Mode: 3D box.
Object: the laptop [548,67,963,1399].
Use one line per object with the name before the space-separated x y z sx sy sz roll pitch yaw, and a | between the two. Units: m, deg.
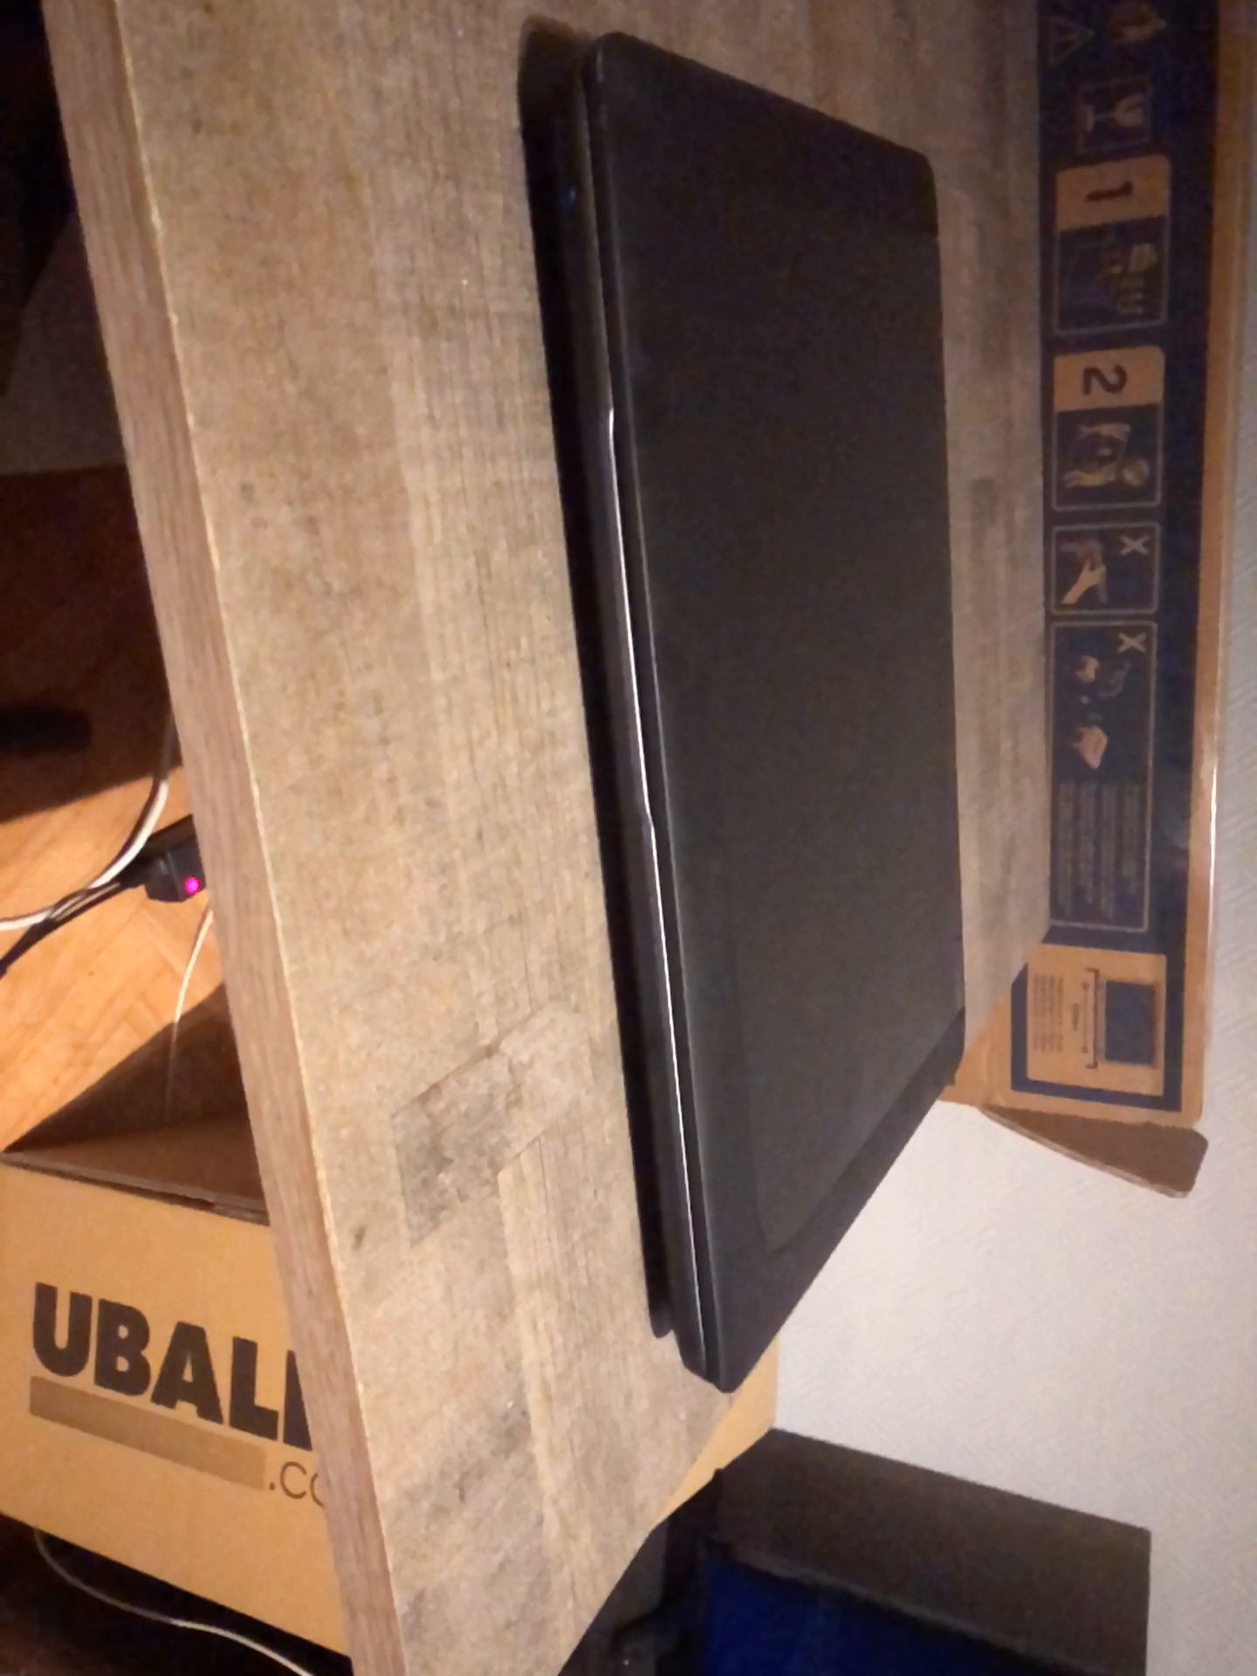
laptop | 0.066 -0.038 0.474 0.242 0.017 0.365 -31 120 -56
